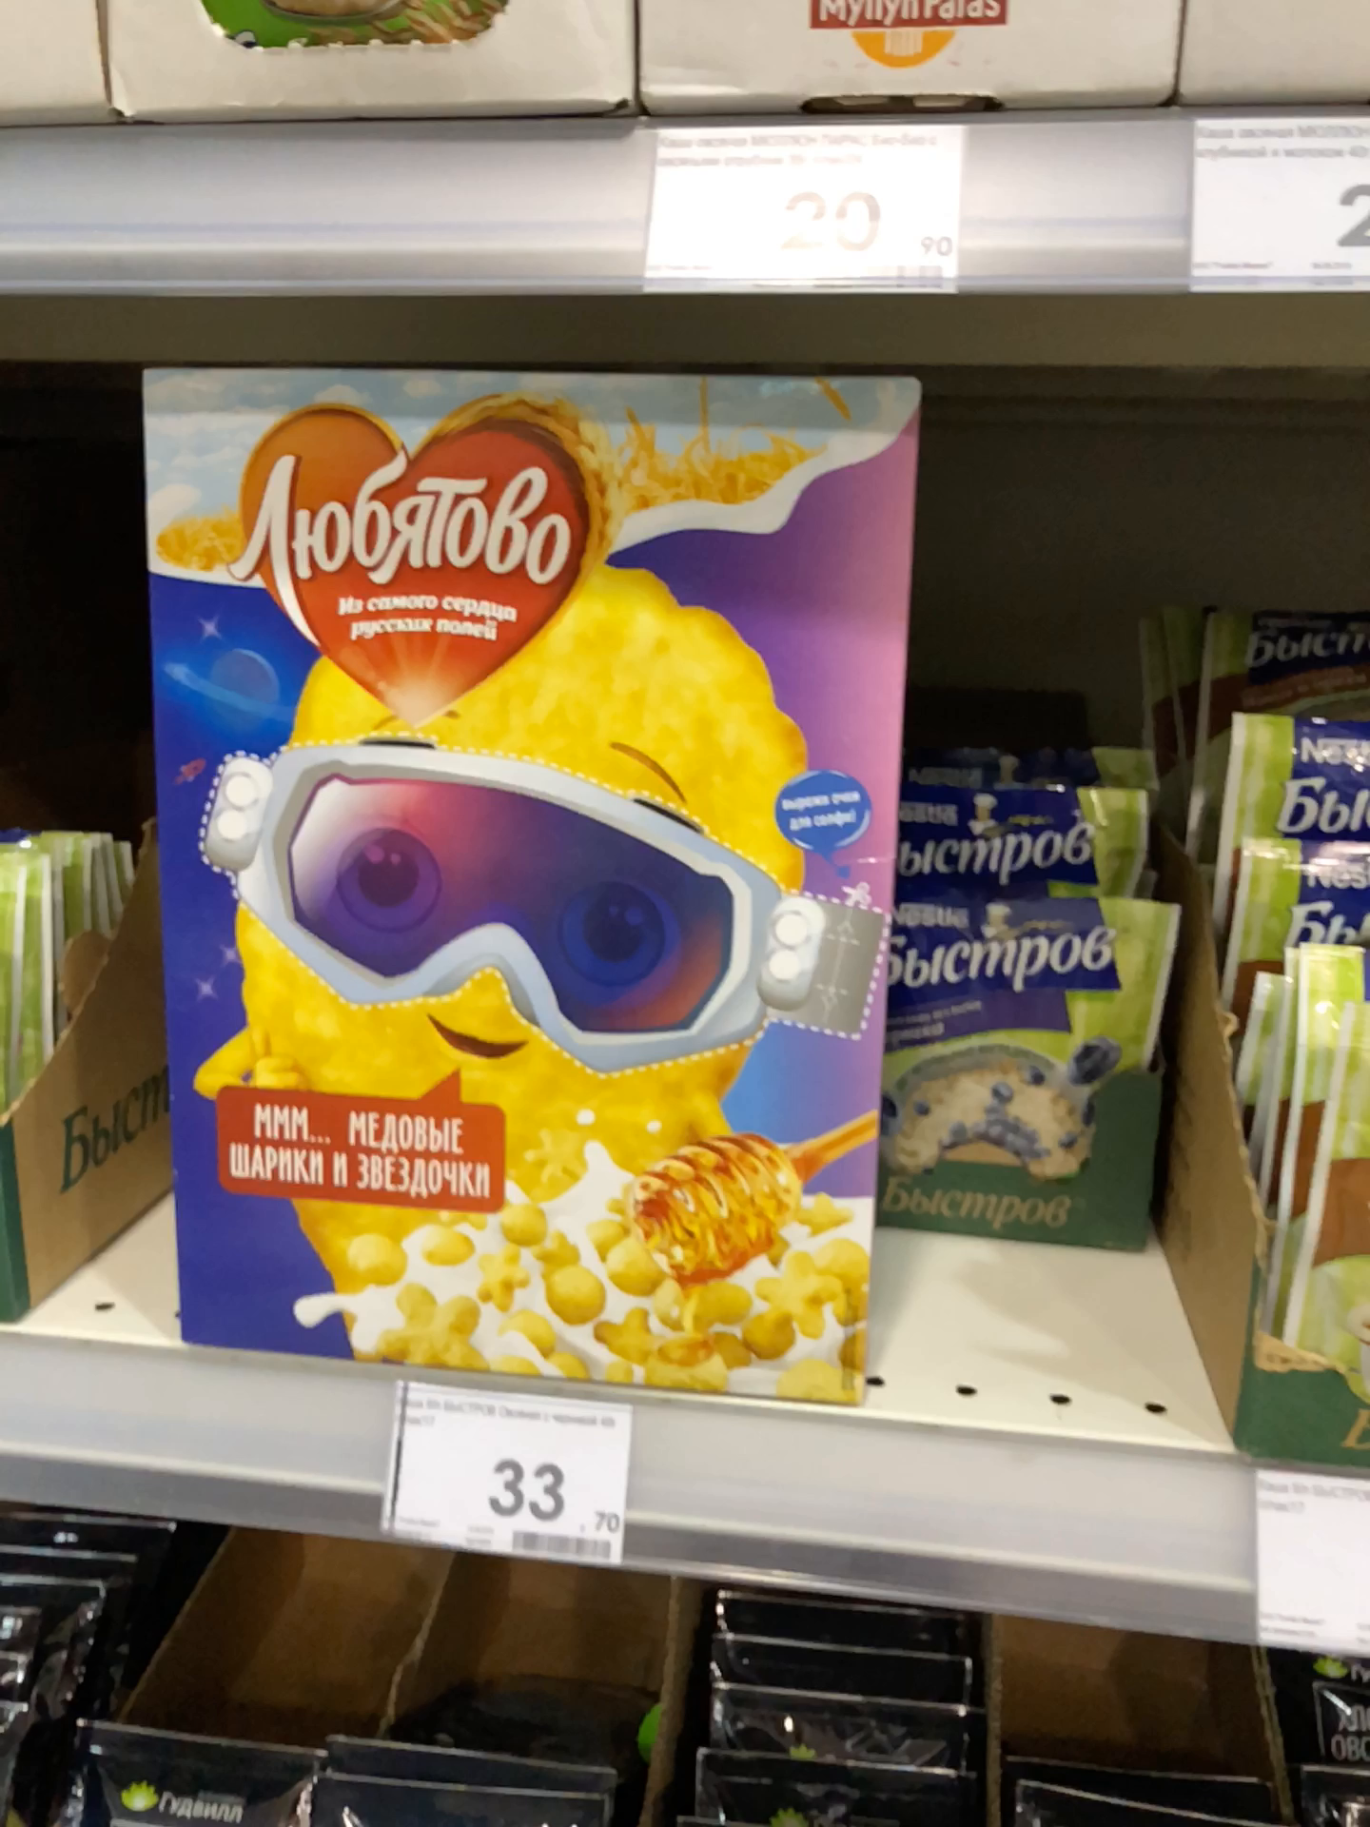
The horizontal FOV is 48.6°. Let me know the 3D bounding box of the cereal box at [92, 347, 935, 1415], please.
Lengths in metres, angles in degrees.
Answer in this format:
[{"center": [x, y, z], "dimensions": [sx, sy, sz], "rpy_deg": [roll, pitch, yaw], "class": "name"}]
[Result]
[{"center": [-0.043, -0.009, 0.401], "dimensions": [0.200, 0.259, 0.050], "rpy_deg": [3, 12, 7], "class": "cereal box"}]
